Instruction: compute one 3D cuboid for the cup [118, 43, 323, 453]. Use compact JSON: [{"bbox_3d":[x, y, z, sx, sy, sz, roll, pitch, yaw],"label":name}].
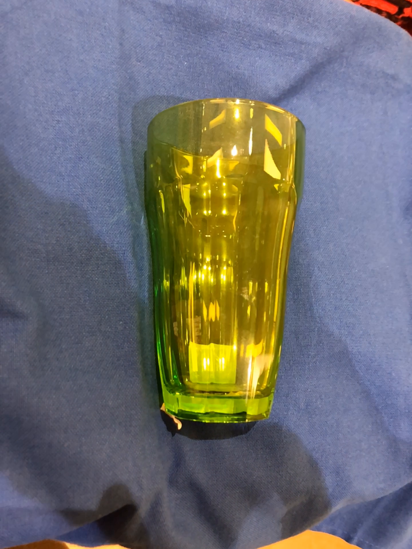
[{"bbox_3d":[0.005,-0.009,0.225,0.070,0.070,0.160,4,83,-31],"label":"cup"}]
